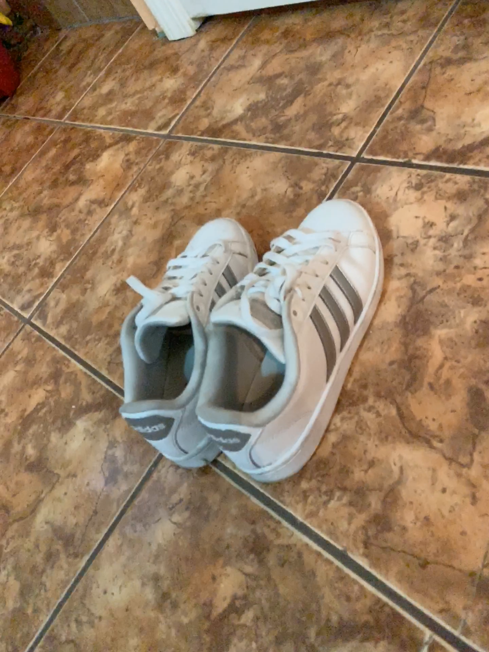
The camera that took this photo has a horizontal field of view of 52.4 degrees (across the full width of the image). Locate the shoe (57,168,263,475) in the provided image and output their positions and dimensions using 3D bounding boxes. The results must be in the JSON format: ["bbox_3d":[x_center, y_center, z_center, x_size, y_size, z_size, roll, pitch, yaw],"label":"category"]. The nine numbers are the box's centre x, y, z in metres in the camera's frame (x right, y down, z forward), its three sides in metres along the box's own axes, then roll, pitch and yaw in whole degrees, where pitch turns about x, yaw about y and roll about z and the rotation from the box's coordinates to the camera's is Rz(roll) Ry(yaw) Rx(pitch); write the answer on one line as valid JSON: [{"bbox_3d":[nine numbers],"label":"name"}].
[{"bbox_3d":[-0.062,-0.006,0.464,0.101,0.104,0.257,-11,54,27],"label":"shoe"}]

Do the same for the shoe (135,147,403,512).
[{"bbox_3d":[0.035,-0.006,0.401,0.102,0.104,0.256,6,63,36],"label":"shoe"}]
